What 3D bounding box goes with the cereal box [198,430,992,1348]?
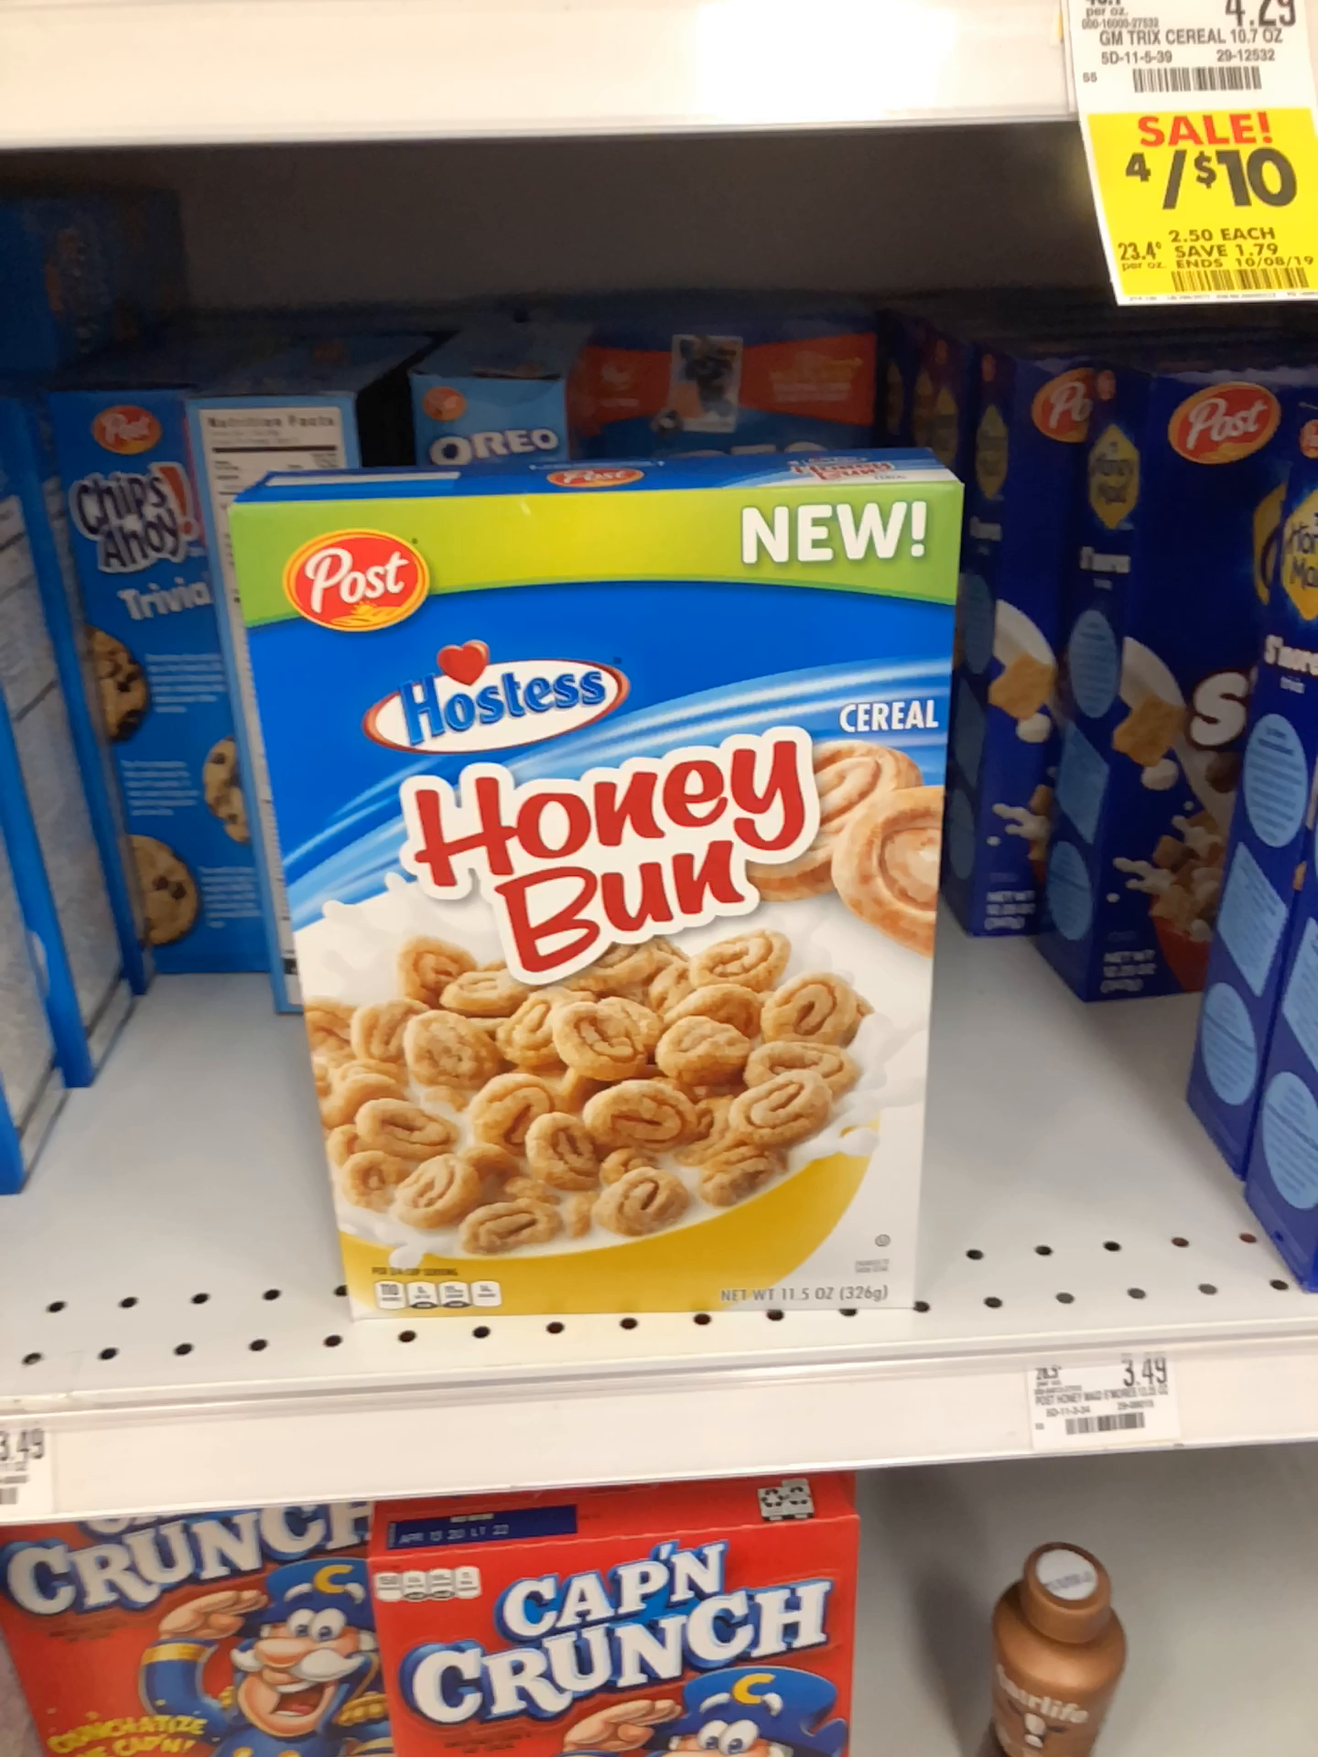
[{"bbox_3d":[-0.014,0.011,0.476,0.210,0.289,0.070,-1,23,0],"label":"cereal box"}]
